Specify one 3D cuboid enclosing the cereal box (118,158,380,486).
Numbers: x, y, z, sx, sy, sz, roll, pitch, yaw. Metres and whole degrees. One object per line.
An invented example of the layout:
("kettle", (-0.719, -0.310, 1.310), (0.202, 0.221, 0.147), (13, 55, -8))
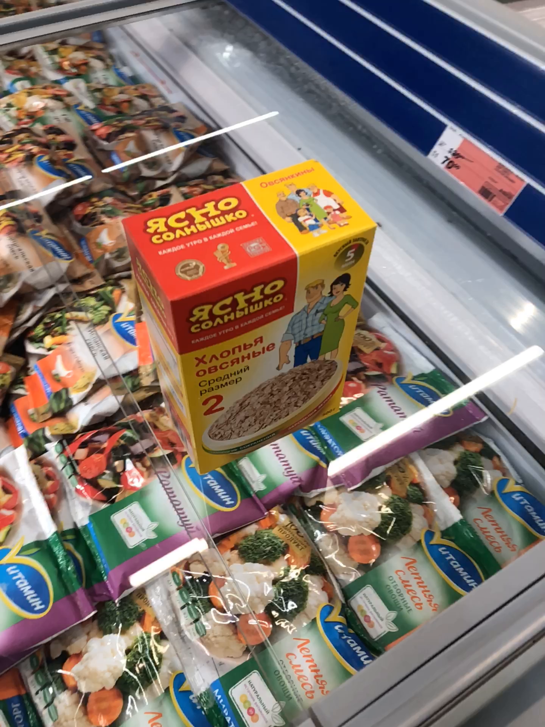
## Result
("cereal box", (-0.015, -0.015, 0.397), (0.120, 0.199, 0.070), (-23, 59, -18))
